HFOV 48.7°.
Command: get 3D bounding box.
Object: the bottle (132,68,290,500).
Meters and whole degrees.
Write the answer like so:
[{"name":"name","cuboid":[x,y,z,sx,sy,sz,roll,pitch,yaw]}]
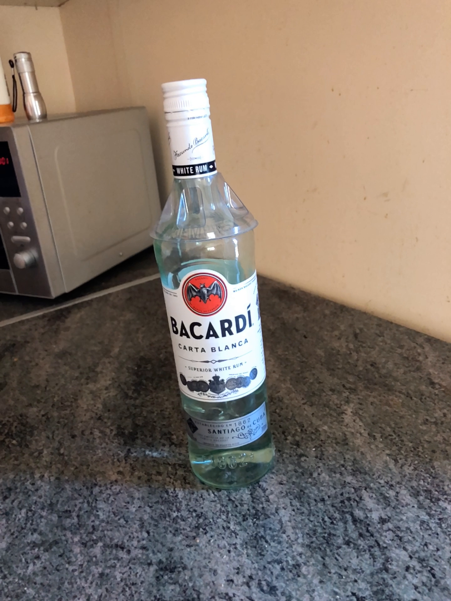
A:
[{"name":"bottle","cuboid":[-0.003,-0.003,0.369,0.080,0.299,0.080,-4,21,2]}]
